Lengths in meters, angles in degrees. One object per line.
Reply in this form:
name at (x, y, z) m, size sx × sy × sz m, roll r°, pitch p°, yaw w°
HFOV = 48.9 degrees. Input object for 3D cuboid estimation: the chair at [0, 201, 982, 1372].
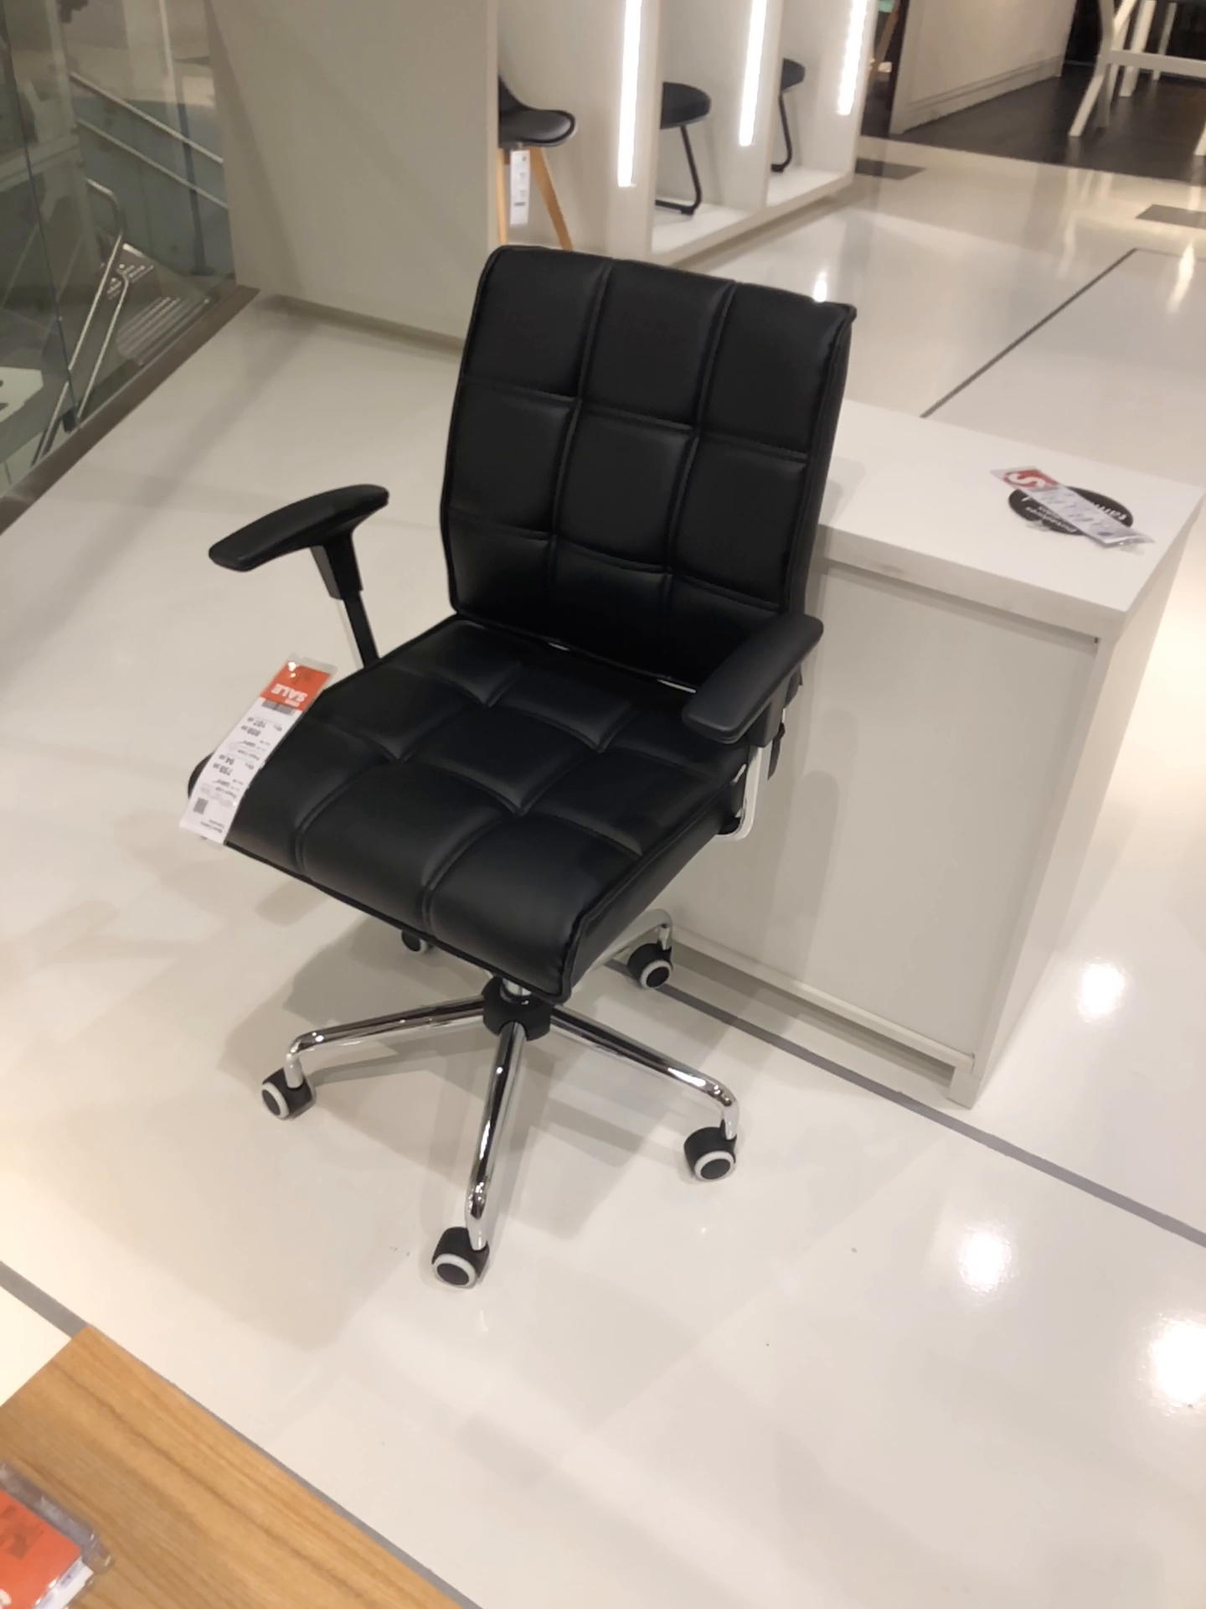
chair at (-0.079, -0.072, 1.479) m, size 0.621 × 0.913 × 0.745 m, roll 20°, pitch 39°, yaw 22°
